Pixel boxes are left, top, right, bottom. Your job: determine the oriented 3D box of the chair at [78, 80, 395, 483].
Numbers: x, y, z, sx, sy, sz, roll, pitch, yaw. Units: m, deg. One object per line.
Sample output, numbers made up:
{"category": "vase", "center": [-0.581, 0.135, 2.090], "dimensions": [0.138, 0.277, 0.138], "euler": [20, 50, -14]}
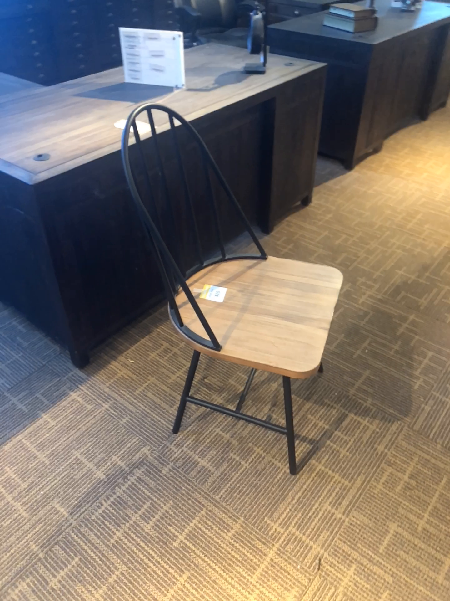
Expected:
{"category": "chair", "center": [0.060, -0.043, 1.426], "dimensions": [0.599, 0.930, 0.516], "euler": [12, 40, 14]}
